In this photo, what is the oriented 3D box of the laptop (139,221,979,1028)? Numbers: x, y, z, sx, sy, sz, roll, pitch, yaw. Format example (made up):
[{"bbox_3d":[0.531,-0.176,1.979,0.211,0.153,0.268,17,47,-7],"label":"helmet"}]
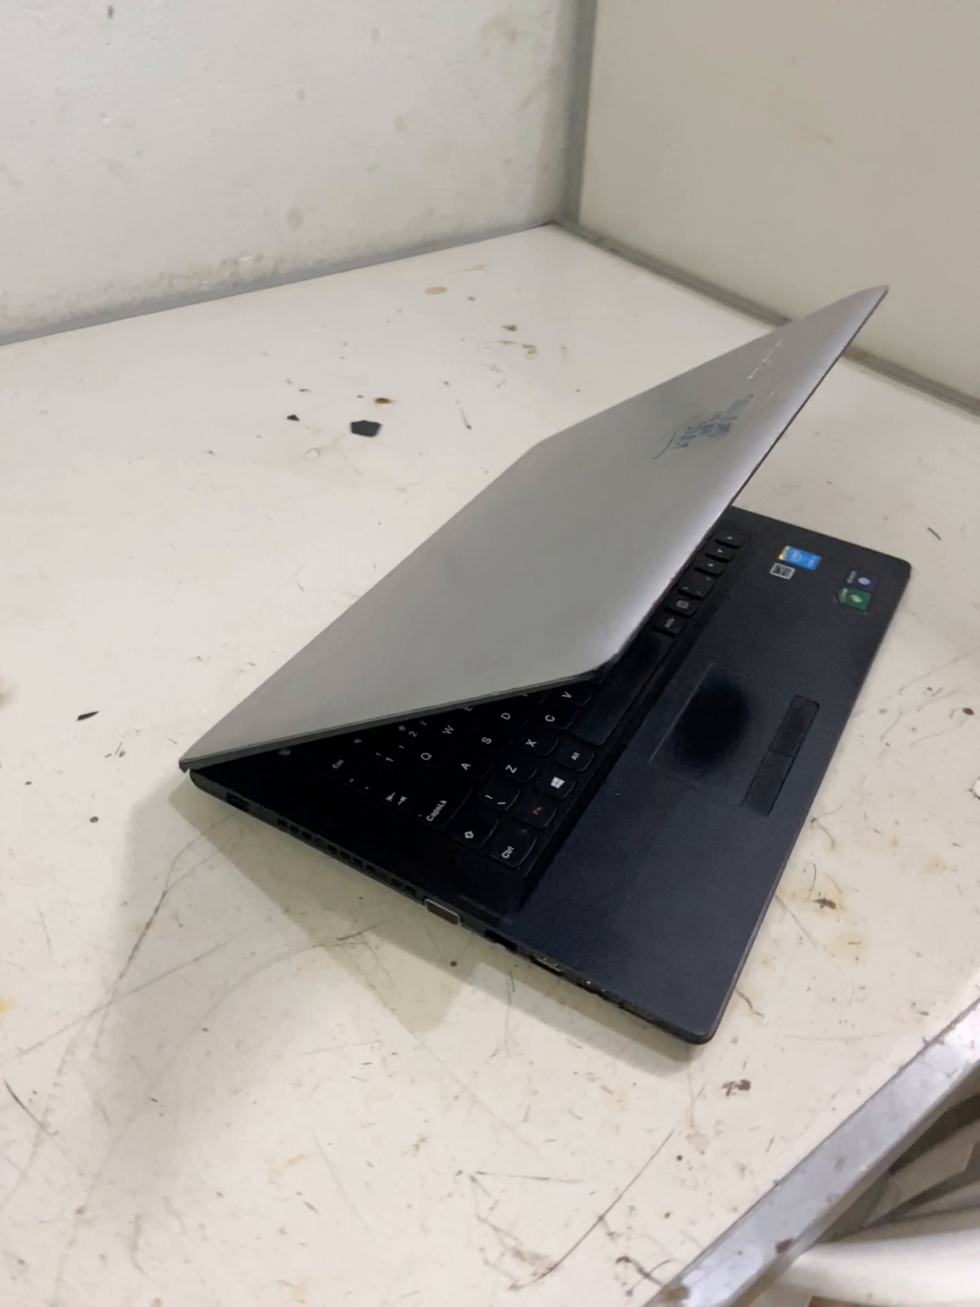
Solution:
[{"bbox_3d":[0.064,-0.059,0.479,0.245,0.148,0.346,22,44,21],"label":"laptop"}]
